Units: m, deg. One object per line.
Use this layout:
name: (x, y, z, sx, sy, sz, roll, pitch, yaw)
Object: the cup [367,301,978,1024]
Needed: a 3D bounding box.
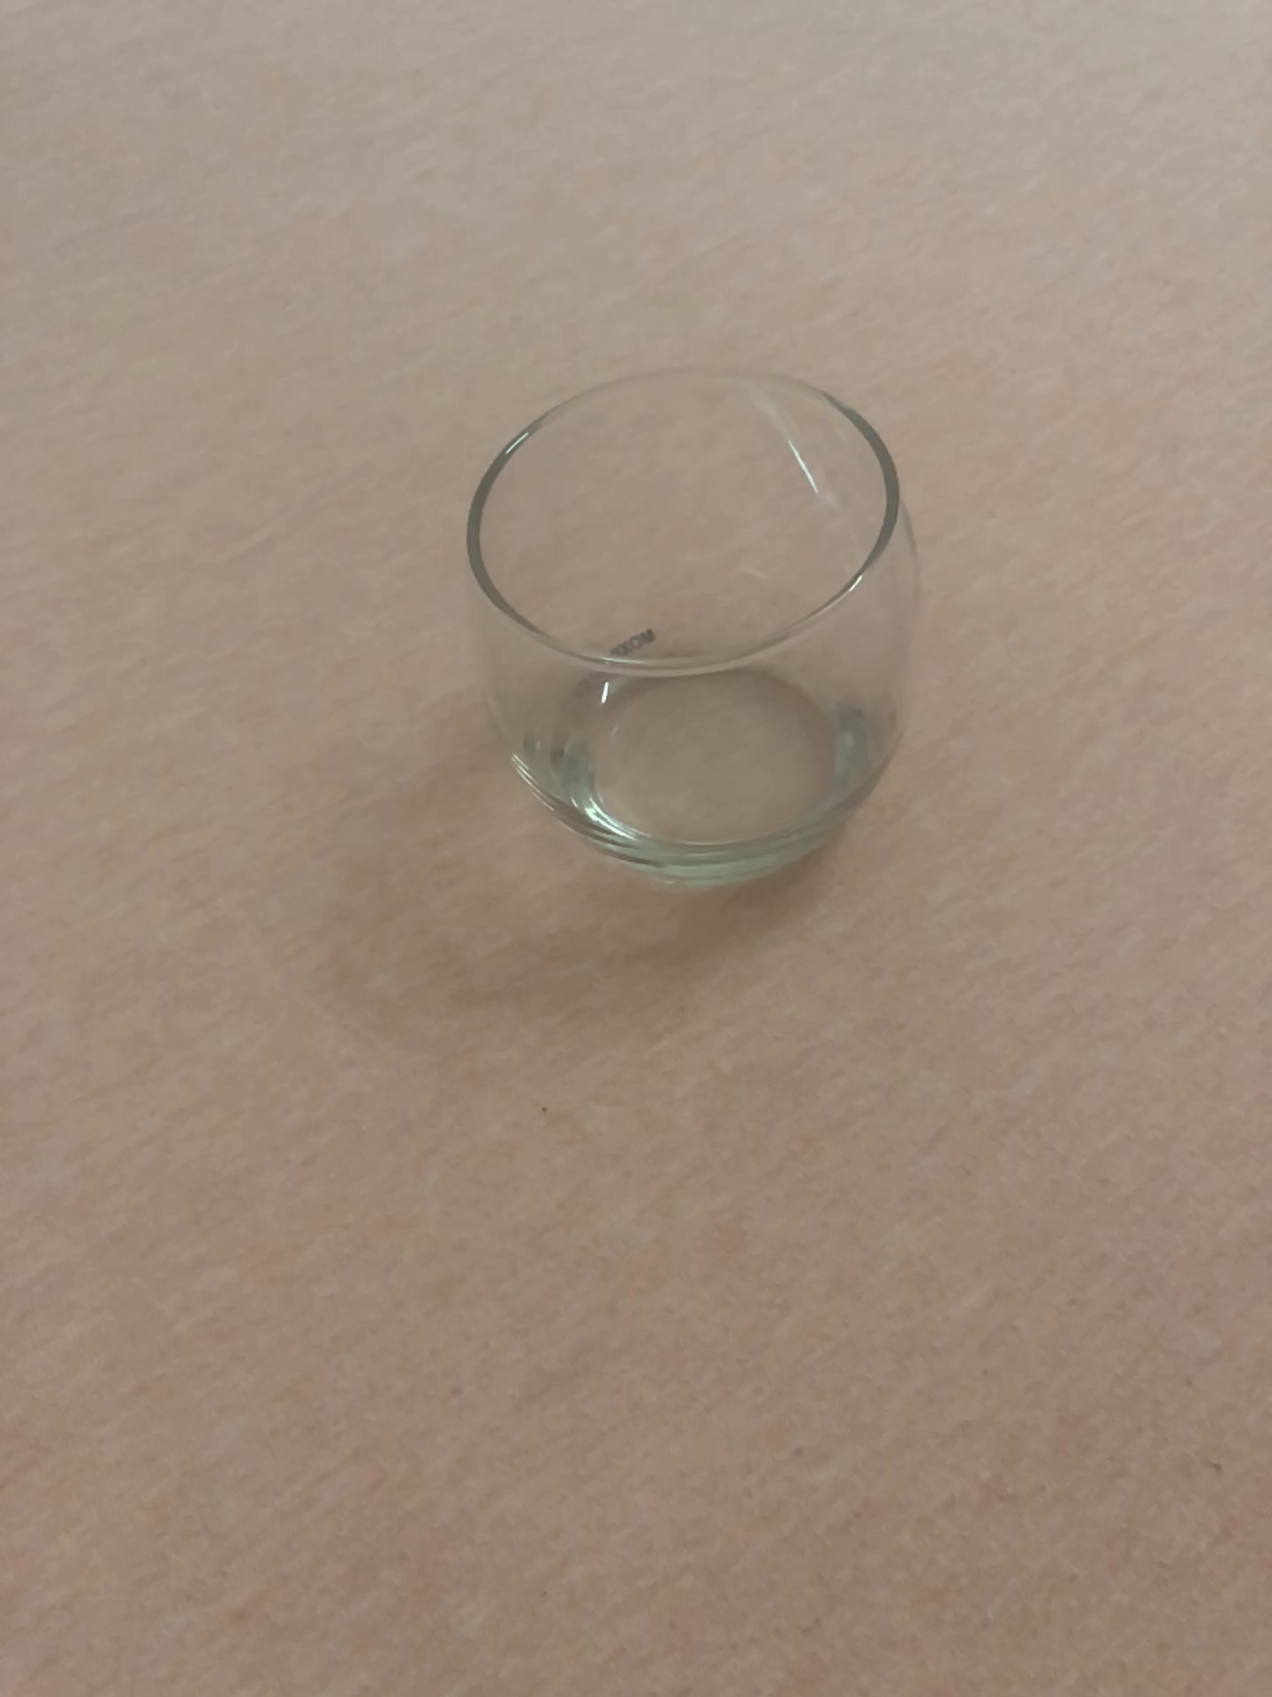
cup: (0.009, -0.039, 0.313, 0.090, 0.100, 0.090, -4, 54, 6)
